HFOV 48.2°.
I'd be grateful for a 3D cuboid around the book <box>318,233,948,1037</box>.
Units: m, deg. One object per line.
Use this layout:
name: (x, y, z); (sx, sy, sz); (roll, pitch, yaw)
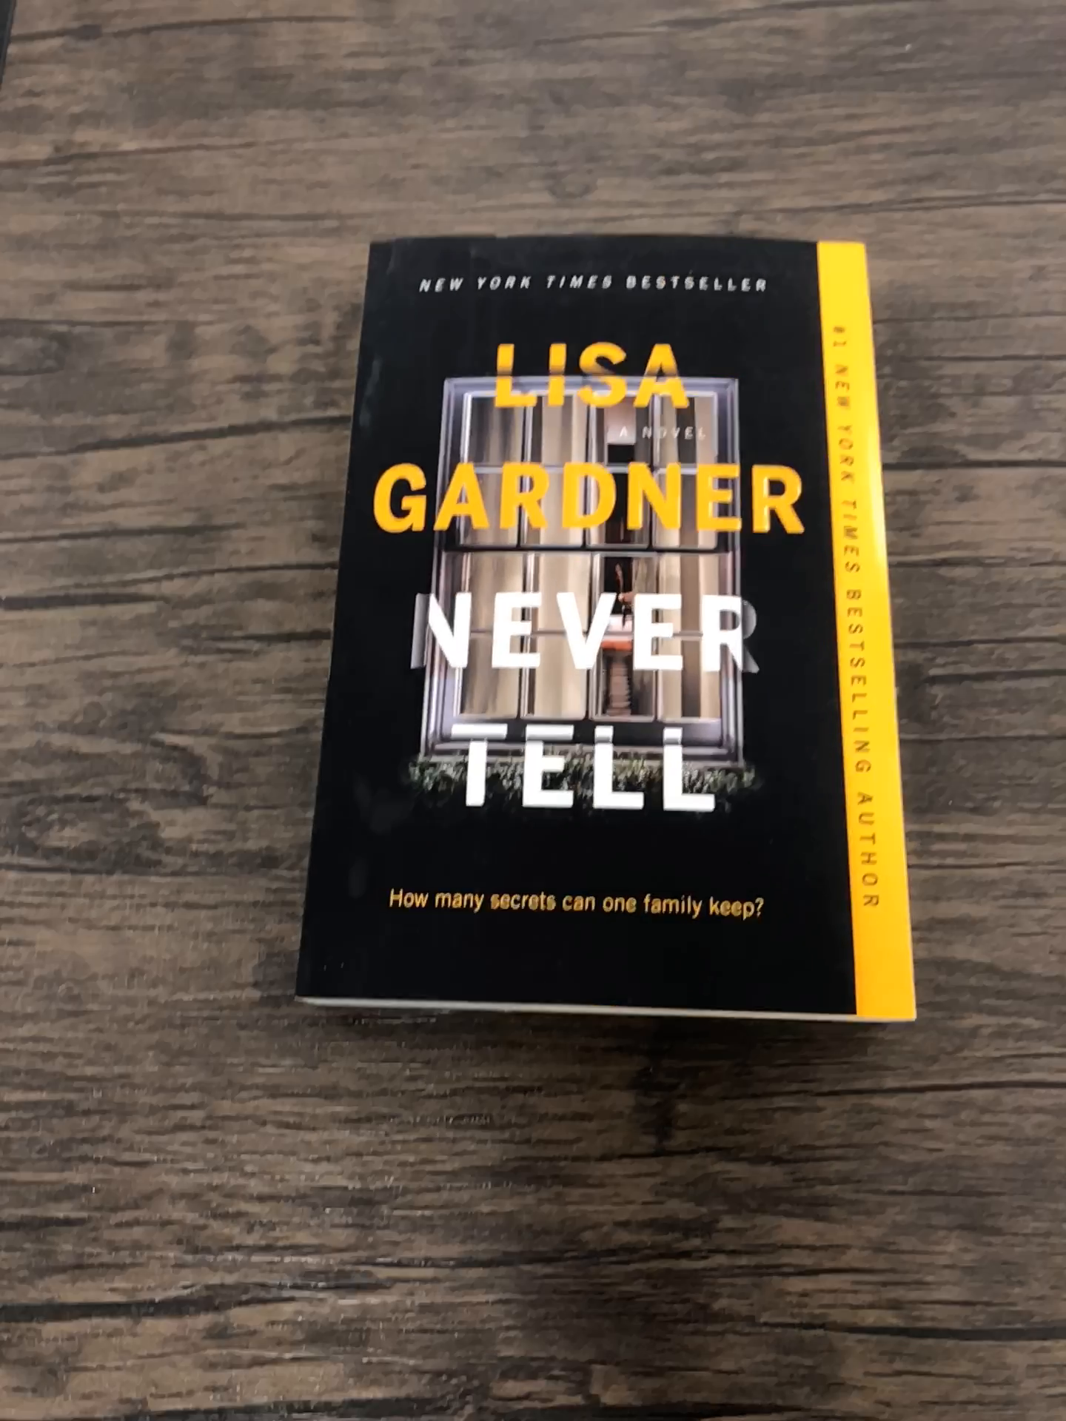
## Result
book: (0.026, -0.027, 0.307); (0.137, 0.032, 0.207); (2, 71, 3)
